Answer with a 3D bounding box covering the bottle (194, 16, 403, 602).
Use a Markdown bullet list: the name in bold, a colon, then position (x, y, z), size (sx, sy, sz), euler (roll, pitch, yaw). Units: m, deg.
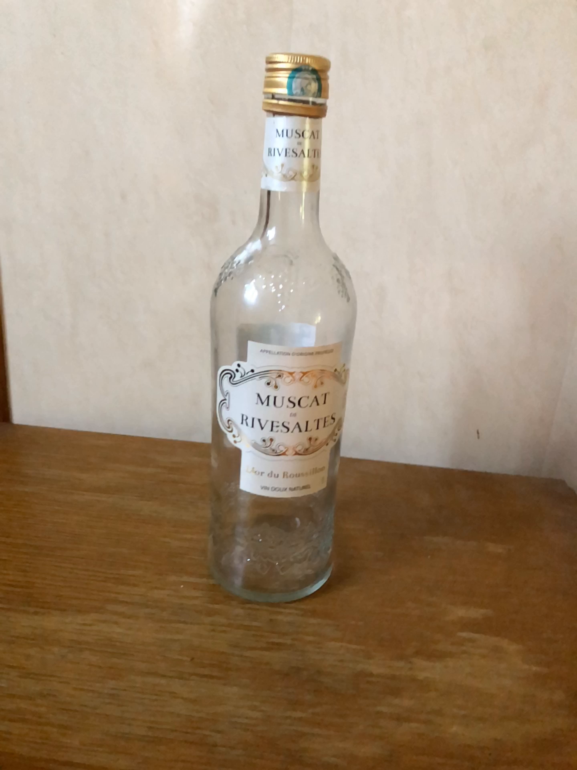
- **bottle**: position (-0.006, -0.026, 0.348), size (0.080, 0.288, 0.080), euler (4, 21, -1)
